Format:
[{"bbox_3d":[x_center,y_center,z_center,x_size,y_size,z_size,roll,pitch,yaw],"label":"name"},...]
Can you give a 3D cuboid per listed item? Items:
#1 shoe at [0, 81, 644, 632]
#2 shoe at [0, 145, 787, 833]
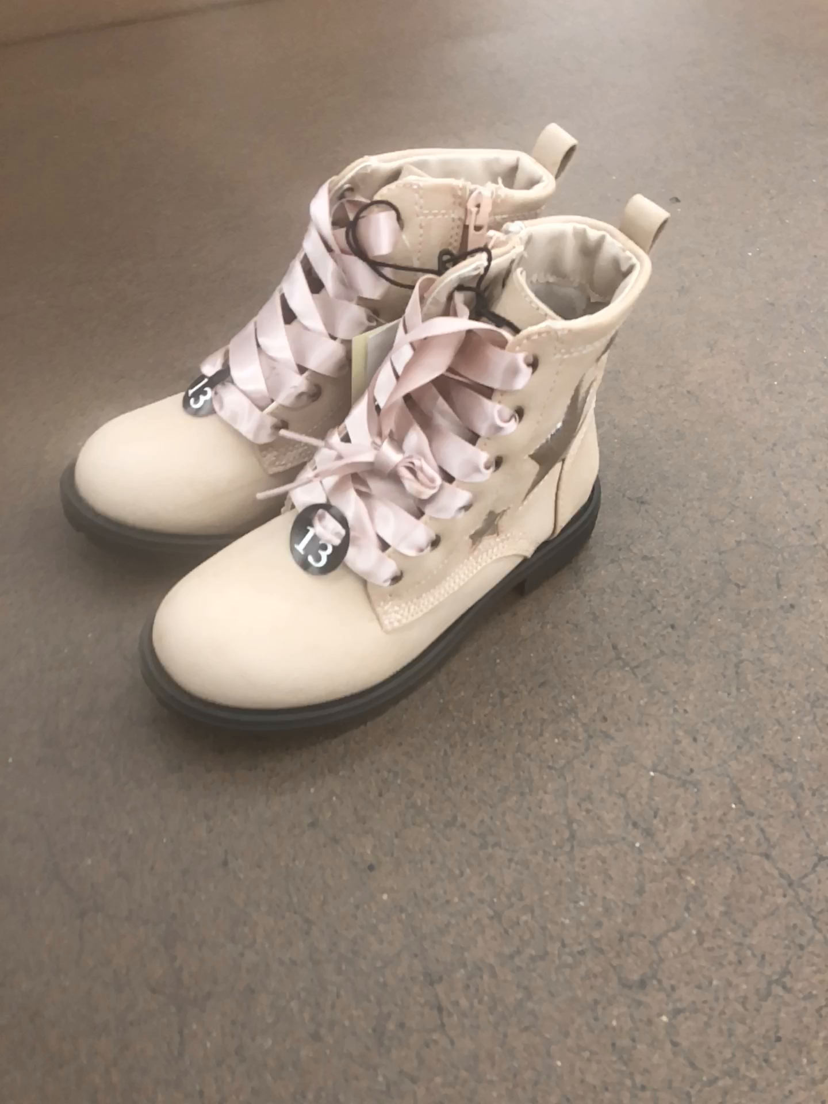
[{"bbox_3d":[-0.040,-0.081,0.380,0.220,0.150,0.090,-20,57,-19],"label":"shoe"},{"bbox_3d":[-0.002,-0.025,0.327,0.220,0.150,0.090,-28,59,-24],"label":"shoe"}]
